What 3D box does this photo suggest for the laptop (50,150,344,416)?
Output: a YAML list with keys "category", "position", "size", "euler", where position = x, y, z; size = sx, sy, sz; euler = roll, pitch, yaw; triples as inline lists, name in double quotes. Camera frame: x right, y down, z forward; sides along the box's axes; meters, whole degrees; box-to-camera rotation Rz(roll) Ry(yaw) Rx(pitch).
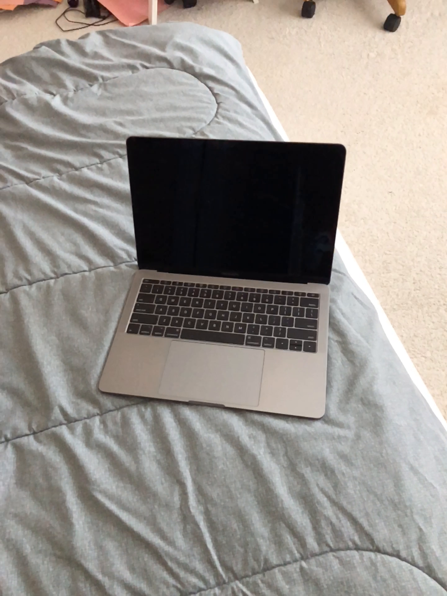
- category: "laptop"
  position: [-0.005, -0.026, 0.615]
  size: [0.279, 0.159, 0.282]
  euler: [5, 57, 8]
